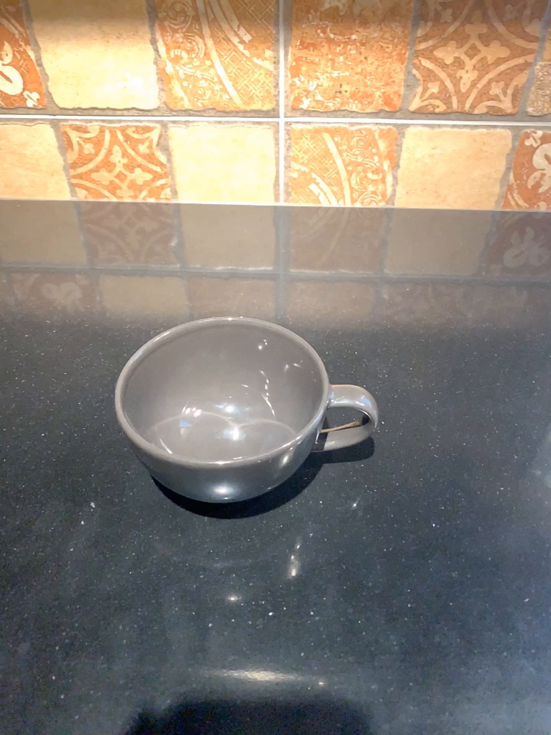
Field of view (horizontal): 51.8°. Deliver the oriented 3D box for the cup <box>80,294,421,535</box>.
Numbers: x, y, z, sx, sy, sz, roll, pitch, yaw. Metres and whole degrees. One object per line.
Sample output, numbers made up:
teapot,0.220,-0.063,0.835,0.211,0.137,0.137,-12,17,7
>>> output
cup,-0.010,0.020,0.294,0.140,0.060,0.110,-1,42,1
